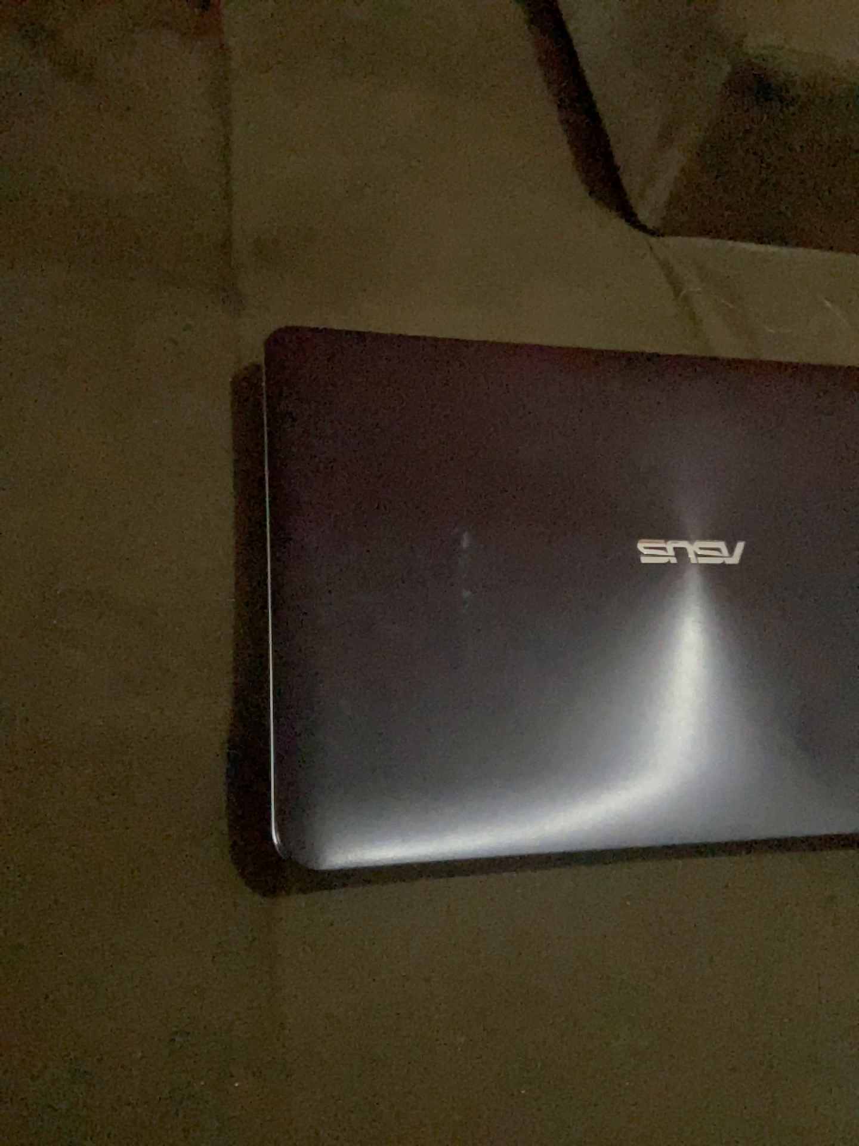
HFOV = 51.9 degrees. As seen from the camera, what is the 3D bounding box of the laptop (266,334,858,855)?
[{"bbox_3d":[0.119,-0.009,0.397,0.370,0.004,0.235,0,60,-14],"label":"laptop"}]
